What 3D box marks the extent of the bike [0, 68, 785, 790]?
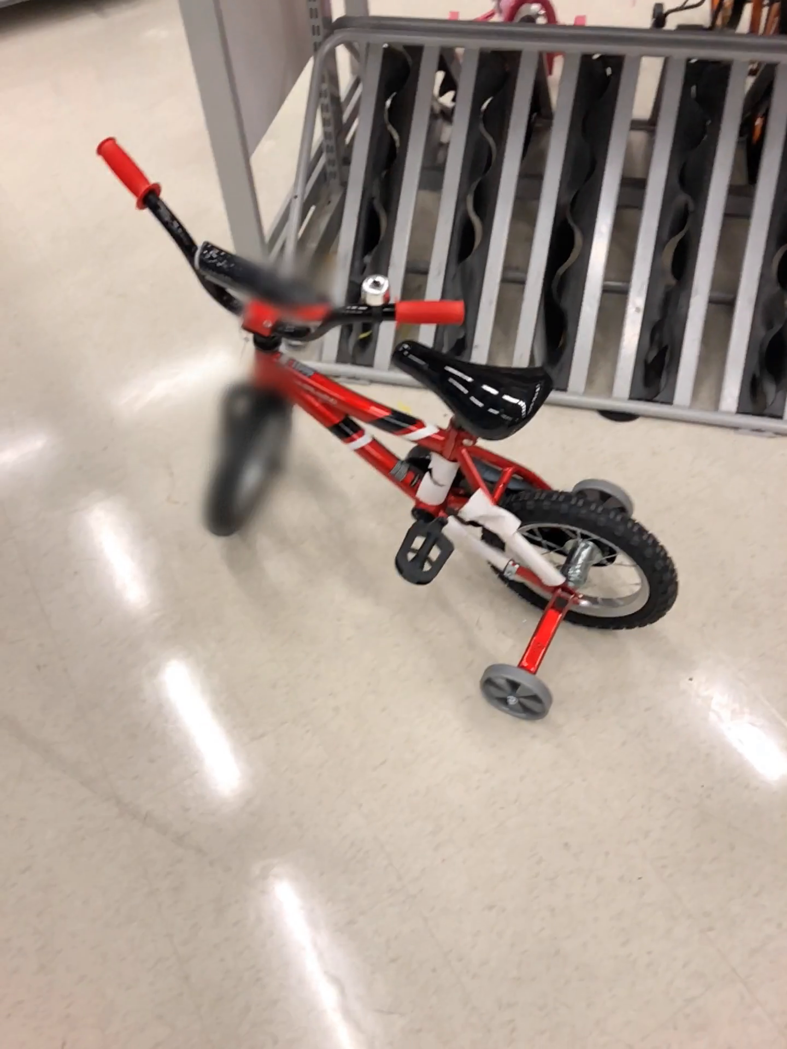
[{"bbox_3d":[0.039,-0.108,1.145,0.699,0.678,0.533,11,53,12],"label":"bike"}]
